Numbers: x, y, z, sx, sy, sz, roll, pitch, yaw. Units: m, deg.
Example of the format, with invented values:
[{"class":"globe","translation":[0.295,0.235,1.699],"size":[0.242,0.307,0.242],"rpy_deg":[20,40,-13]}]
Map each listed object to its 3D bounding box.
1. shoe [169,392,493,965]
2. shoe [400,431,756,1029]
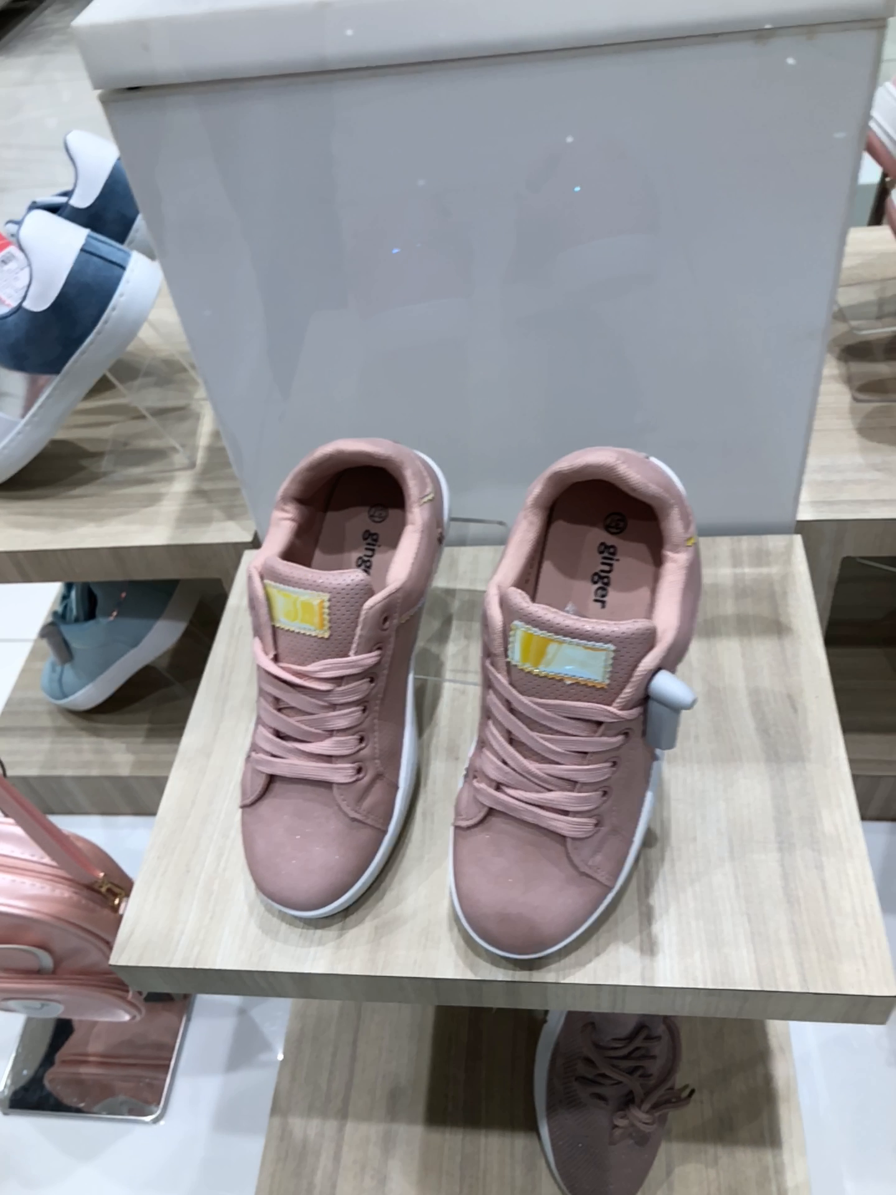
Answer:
[{"class":"shoe","translation":[-0.056,0.036,0.521],"size":[0.100,0.100,0.260],"rpy_deg":[8,89,18]},{"class":"shoe","translation":[0.066,0.056,0.488],"size":[0.100,0.250,0.100],"rpy_deg":[14,8,22]}]
